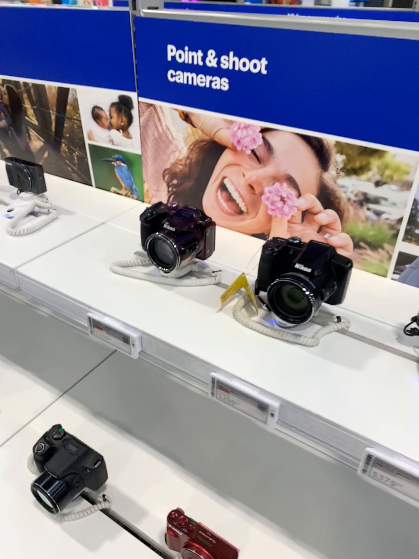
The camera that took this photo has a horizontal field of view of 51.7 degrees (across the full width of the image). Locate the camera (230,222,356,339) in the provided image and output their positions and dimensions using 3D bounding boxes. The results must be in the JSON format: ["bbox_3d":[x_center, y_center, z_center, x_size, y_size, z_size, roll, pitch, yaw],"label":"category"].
[{"bbox_3d":[0.109,-0.005,0.570,0.120,0.080,0.110,21,37,26],"label":"camera"}]

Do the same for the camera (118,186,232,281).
[{"bbox_3d":[-0.052,-0.077,0.671,0.130,0.080,0.110,21,37,26],"label":"camera"}]

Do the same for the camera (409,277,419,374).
[{"bbox_3d":[0.318,0.052,0.523,0.120,0.060,0.050,21,37,27],"label":"camera"}]
